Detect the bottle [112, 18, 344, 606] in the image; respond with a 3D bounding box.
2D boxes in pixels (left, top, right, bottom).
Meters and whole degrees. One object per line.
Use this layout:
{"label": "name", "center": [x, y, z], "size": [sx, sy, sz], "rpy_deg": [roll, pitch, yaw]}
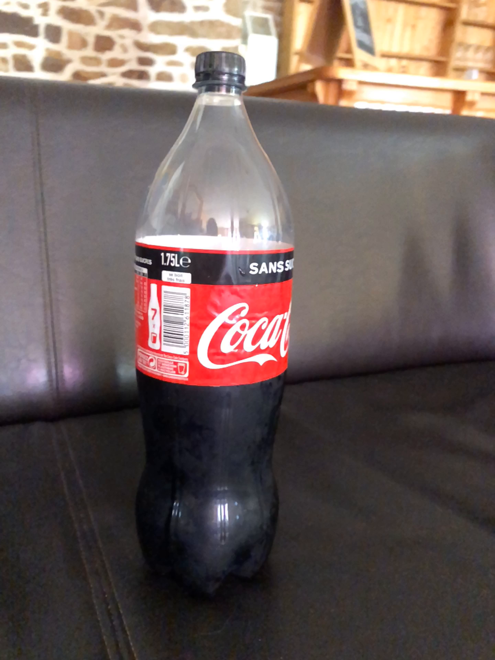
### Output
{"label": "bottle", "center": [-0.014, -0.007, 0.353], "size": [0.100, 0.319, 0.100], "rpy_deg": [3, 14, -1]}
